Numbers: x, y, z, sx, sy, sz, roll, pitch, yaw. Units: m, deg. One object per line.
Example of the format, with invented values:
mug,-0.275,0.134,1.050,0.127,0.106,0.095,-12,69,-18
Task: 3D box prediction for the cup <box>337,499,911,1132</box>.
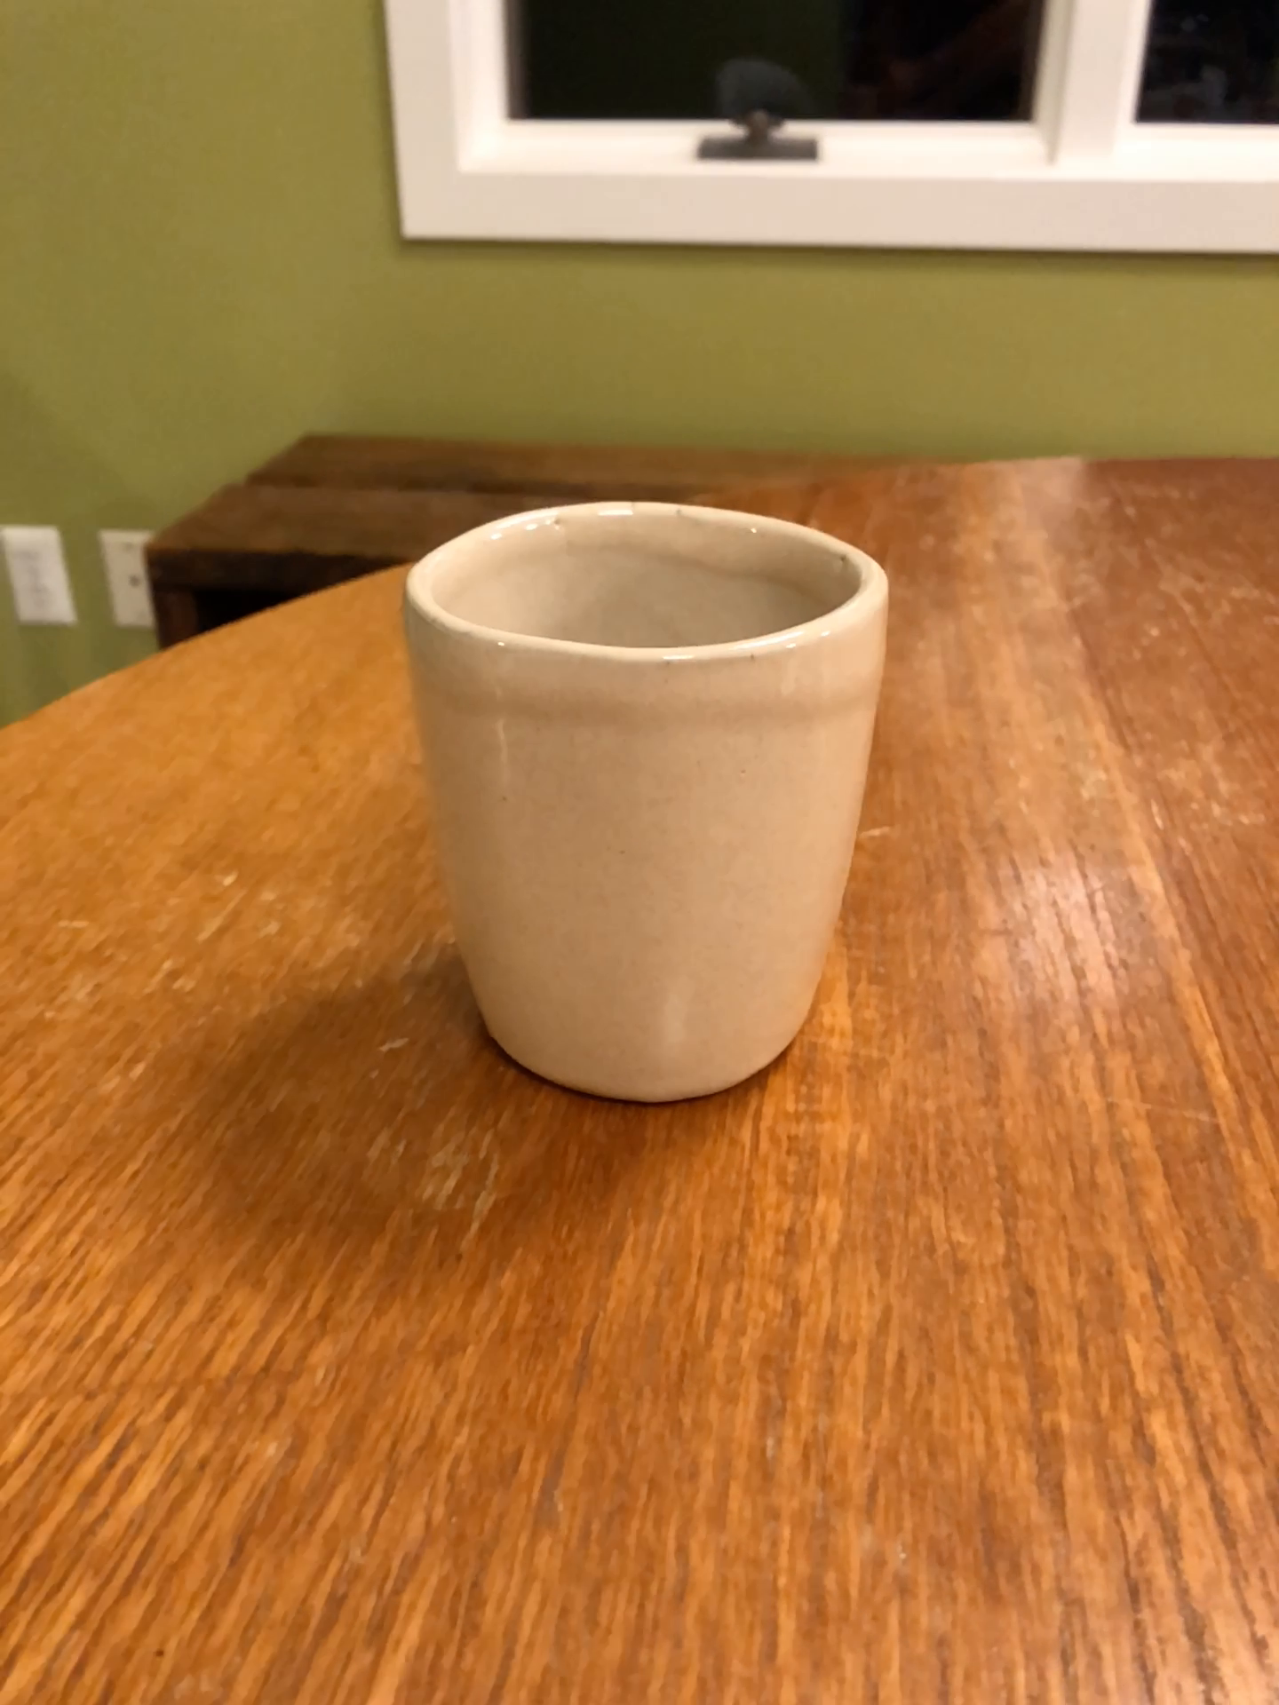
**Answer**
cup,0.000,-0.011,0.264,0.084,0.086,0.083,0,28,0
